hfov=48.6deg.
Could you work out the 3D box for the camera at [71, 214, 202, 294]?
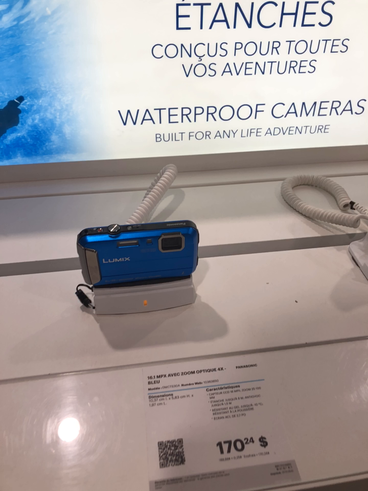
[{"bbox_3d":[-0.039,0.008,0.356,0.106,0.059,0.020,-6,38,-7],"label":"camera"}]
